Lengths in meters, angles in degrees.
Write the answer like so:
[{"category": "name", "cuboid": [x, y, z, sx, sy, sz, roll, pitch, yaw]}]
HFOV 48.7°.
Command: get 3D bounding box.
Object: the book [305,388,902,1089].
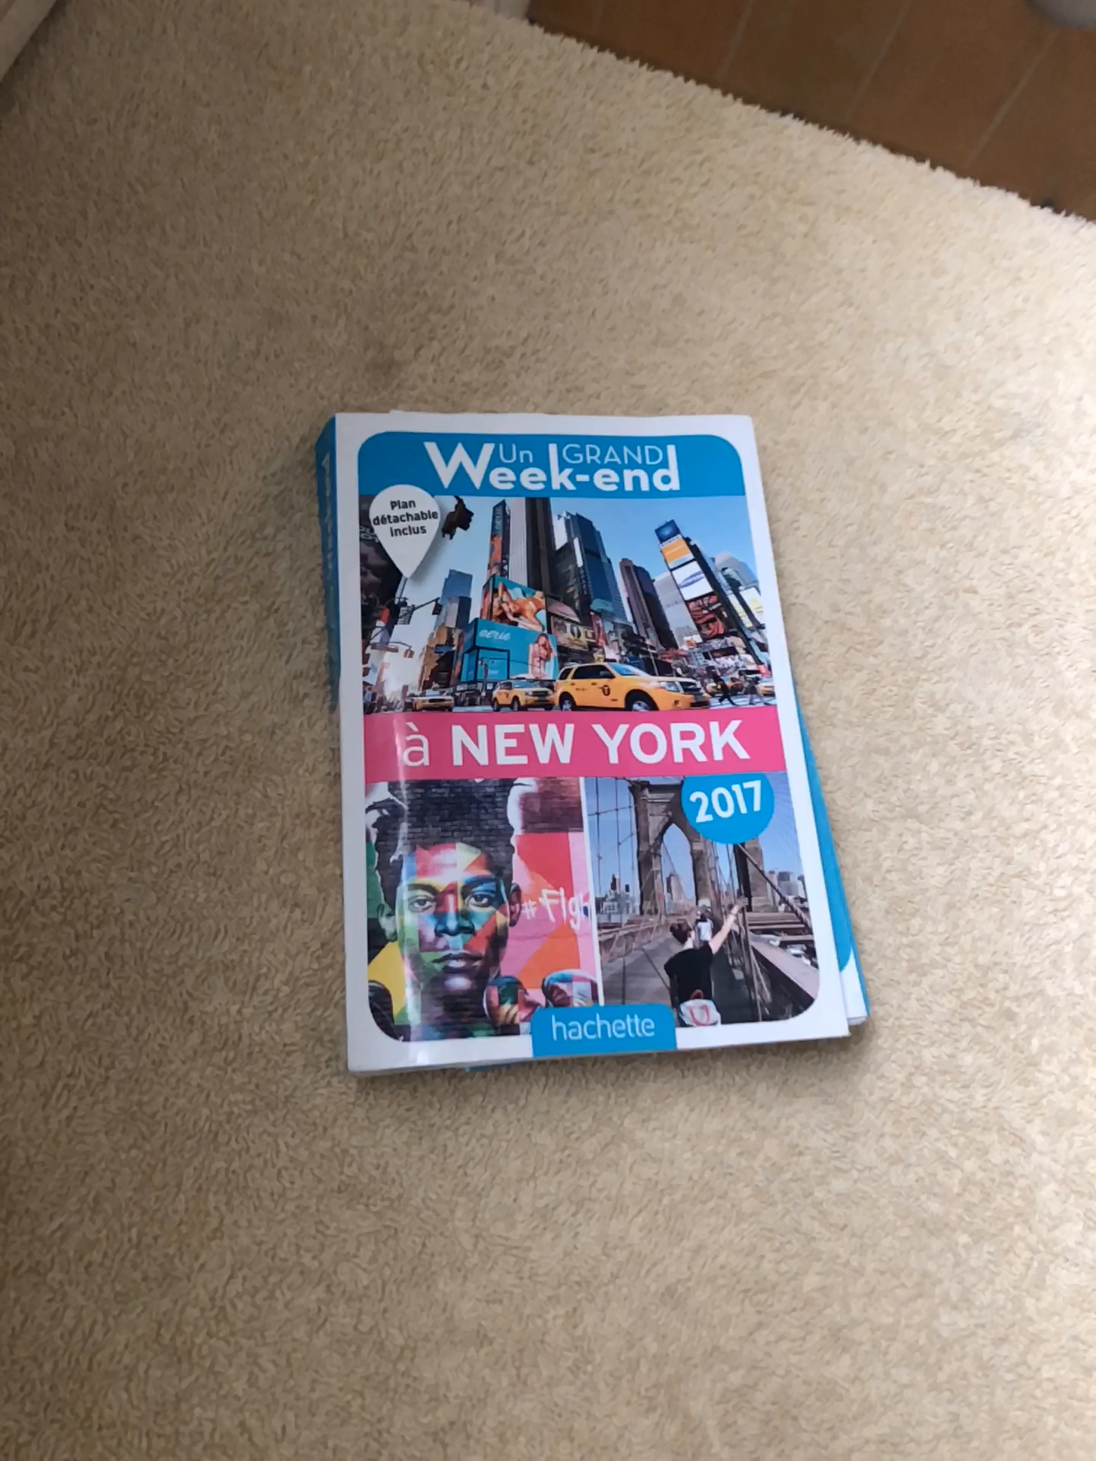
[{"category": "book", "cuboid": [0.007, -0.006, 0.282, 0.120, 0.020, 0.160, -2, 70, -7]}]
